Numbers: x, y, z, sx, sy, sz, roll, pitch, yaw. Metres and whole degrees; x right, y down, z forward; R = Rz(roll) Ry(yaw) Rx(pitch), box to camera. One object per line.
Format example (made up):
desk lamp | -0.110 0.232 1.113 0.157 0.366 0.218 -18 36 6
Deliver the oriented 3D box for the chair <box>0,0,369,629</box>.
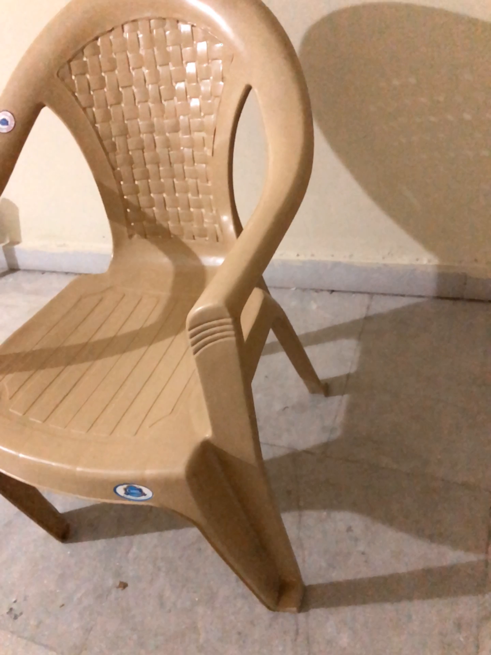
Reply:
chair | -0.188 -0.047 0.843 0.590 0.746 0.603 4 49 23
